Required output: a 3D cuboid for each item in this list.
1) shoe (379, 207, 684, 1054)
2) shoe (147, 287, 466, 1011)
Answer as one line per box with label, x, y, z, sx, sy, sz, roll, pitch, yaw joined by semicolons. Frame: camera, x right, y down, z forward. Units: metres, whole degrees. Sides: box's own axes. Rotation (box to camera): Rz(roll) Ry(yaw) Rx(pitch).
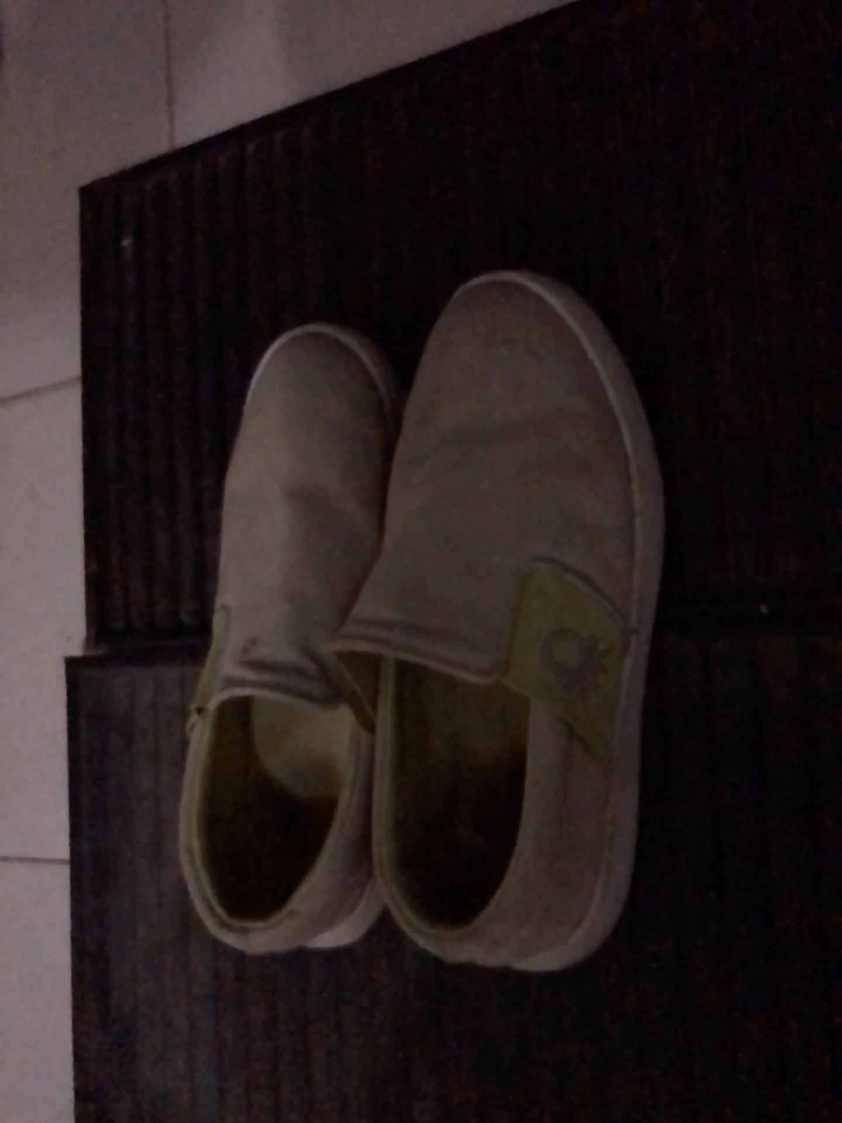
shoe;0.051;0.026;0.432;0.110;0.090;0.330;-3;84;27
shoe;-0.052;0.037;0.458;0.120;0.090;0.300;-3;84;27
